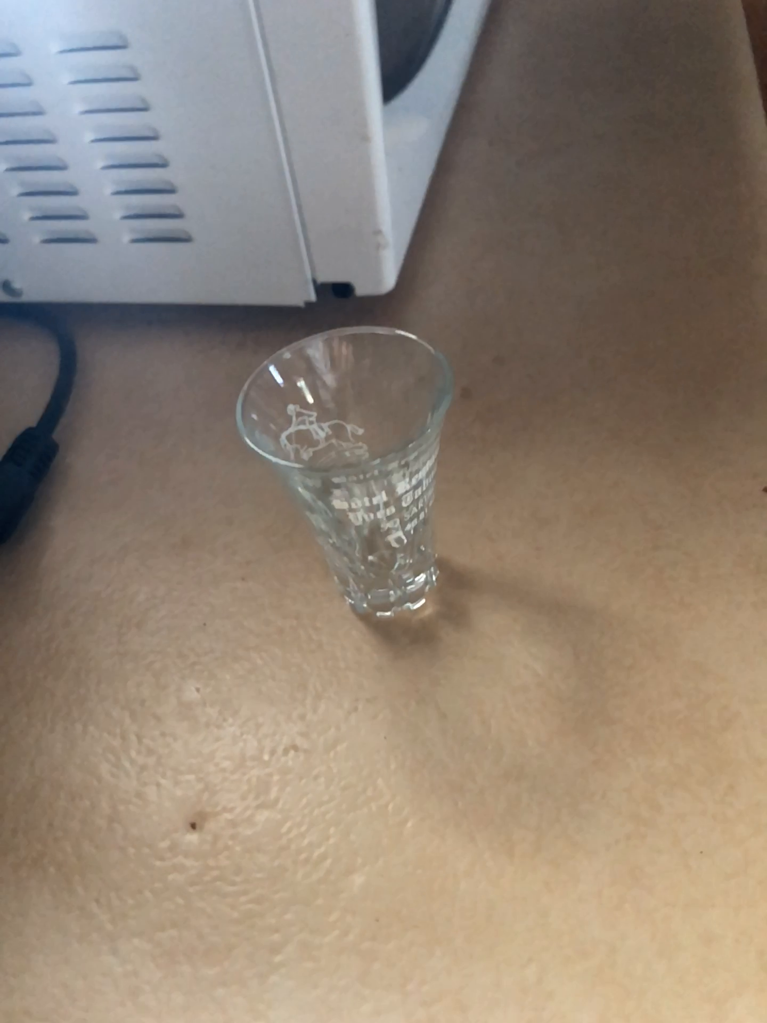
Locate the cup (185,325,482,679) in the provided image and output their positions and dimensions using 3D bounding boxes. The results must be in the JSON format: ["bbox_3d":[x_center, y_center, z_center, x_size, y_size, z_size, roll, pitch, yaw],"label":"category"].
[{"bbox_3d":[-0.007,-0.002,0.223,0.050,0.070,0.050,-5,46,6],"label":"cup"}]
